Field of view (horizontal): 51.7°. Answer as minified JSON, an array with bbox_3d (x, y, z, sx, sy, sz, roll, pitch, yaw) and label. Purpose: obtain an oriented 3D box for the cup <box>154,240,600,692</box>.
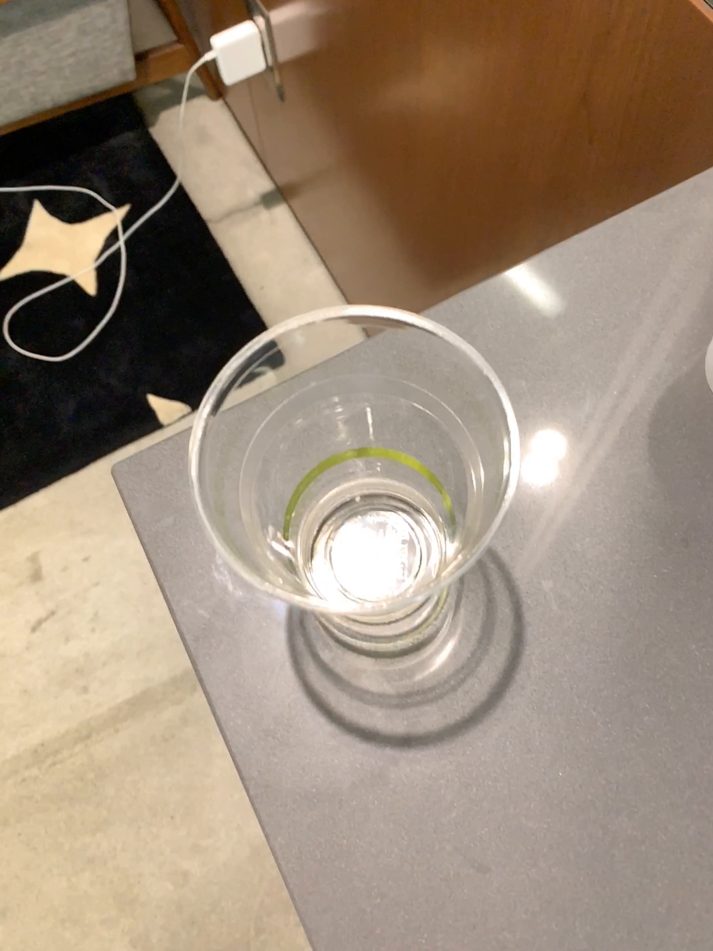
[{"bbox_3d":[0.006,0.008,0.253,0.090,0.120,0.090,-1,69,3],"label":"cup"}]
